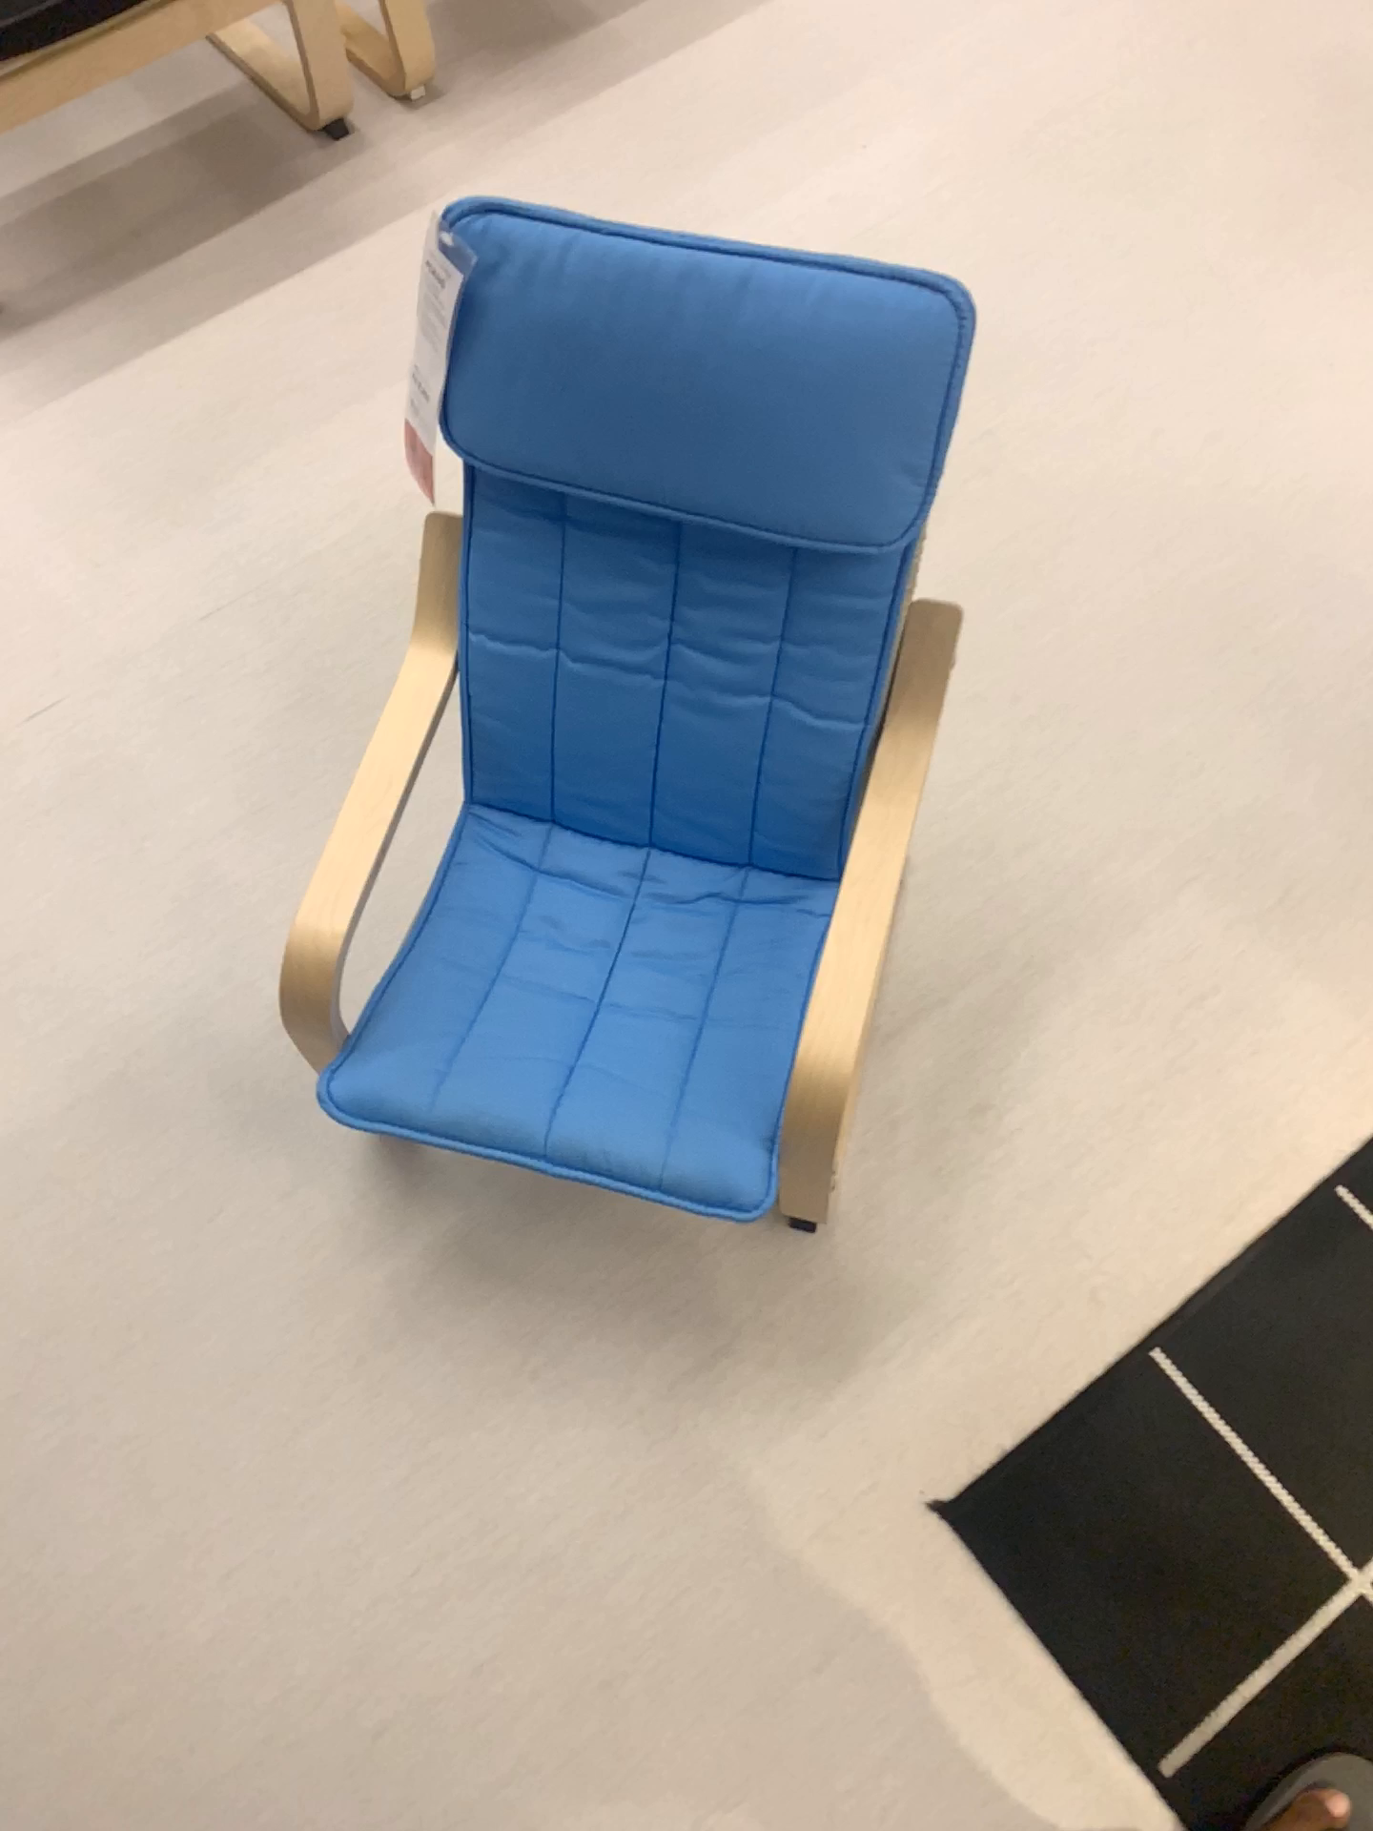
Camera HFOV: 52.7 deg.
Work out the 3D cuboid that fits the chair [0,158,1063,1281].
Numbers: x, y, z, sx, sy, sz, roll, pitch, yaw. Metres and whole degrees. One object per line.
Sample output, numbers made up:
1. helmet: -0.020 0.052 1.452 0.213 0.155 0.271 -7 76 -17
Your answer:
1. chair: -0.065 -0.098 1.080 0.510 0.639 0.501 13 64 9
